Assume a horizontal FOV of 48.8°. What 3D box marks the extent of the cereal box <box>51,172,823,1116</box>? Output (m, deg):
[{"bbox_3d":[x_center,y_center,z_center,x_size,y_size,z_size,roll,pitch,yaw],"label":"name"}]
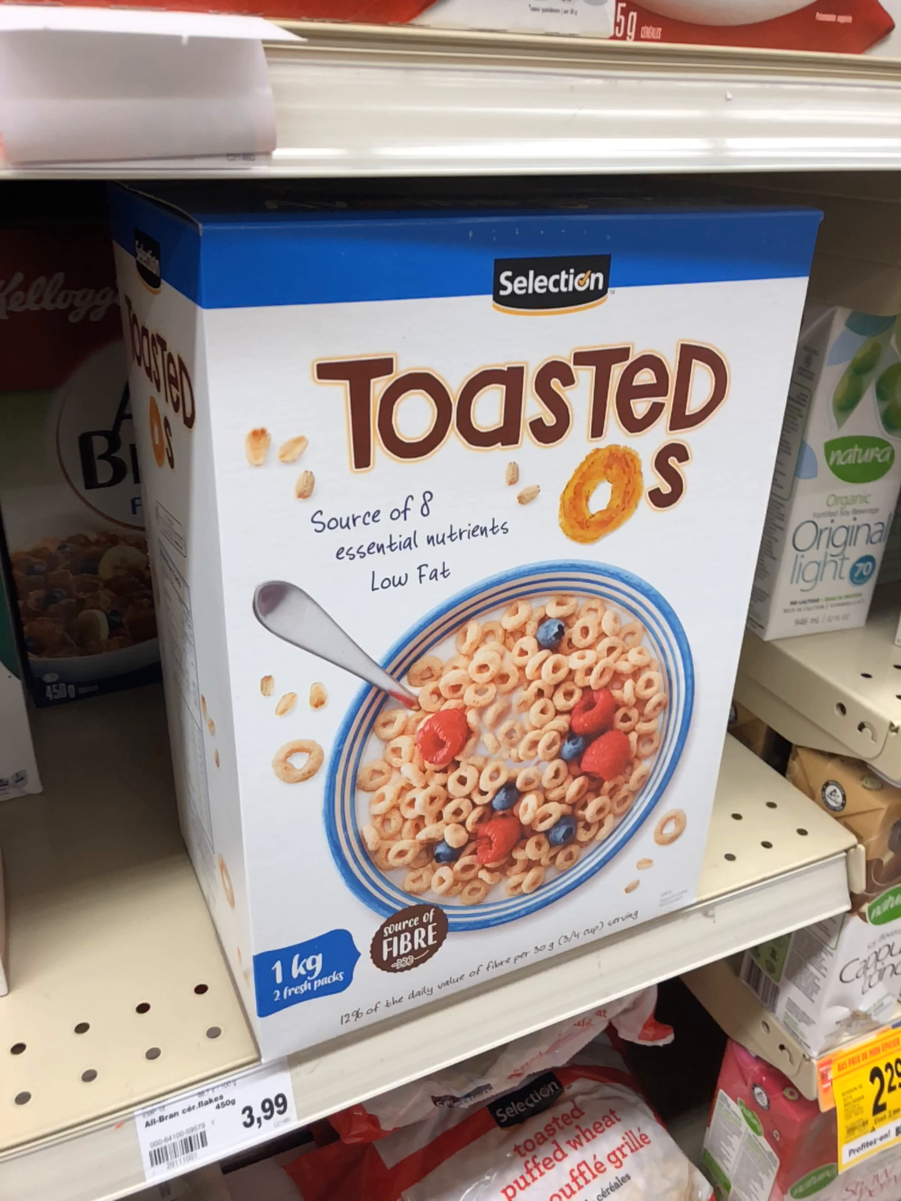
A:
[{"bbox_3d":[-0.013,-0.001,0.439,0.240,0.338,0.161,-11,28,-24],"label":"cereal box"}]
